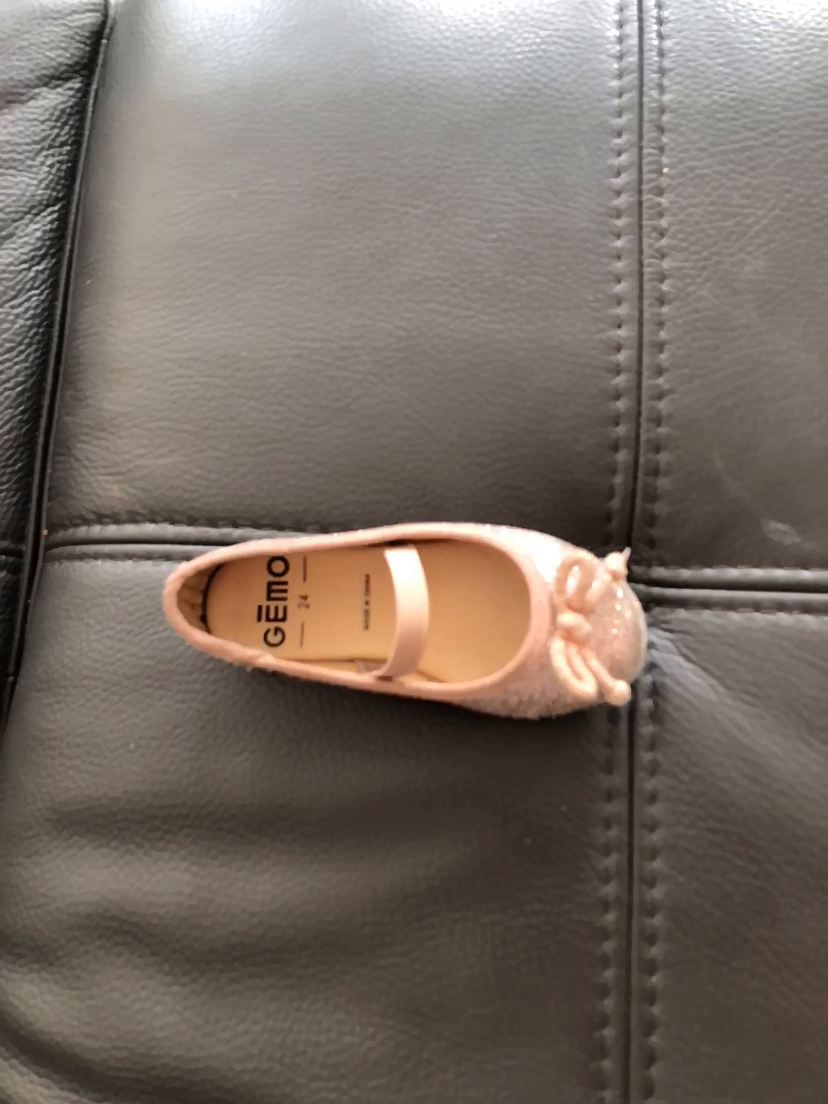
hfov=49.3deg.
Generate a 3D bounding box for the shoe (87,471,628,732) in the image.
[{"bbox_3d":[-0.016,0.017,0.292,0.160,0.040,0.070,3,79,7],"label":"shoe"}]
